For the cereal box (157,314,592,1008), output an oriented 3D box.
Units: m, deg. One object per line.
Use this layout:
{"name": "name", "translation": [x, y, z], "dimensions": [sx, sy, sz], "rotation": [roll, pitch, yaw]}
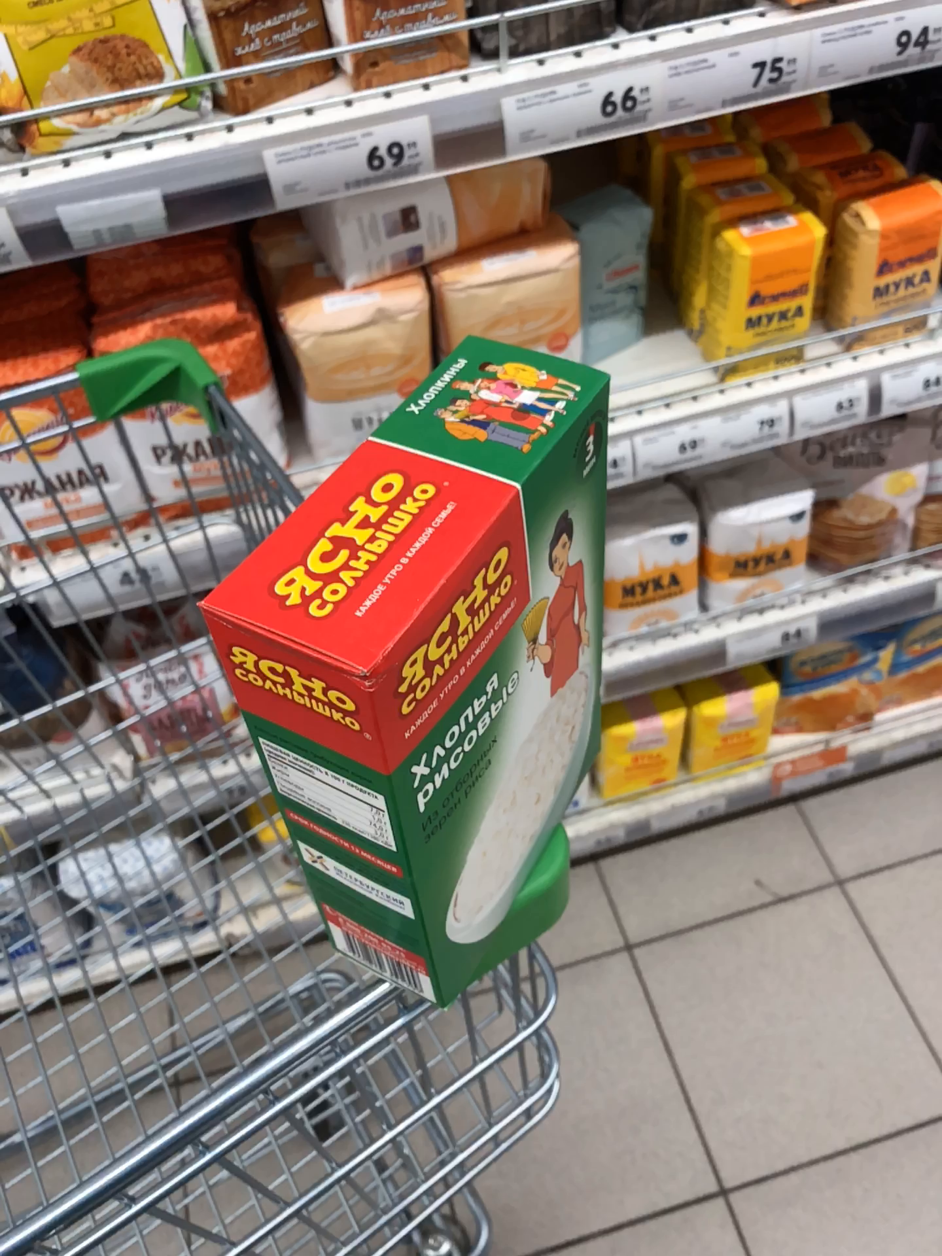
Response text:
{"name": "cereal box", "translation": [-0.013, 0.019, 0.355], "dimensions": [0.050, 0.189, 0.141], "rotation": [20, 54, 22]}
